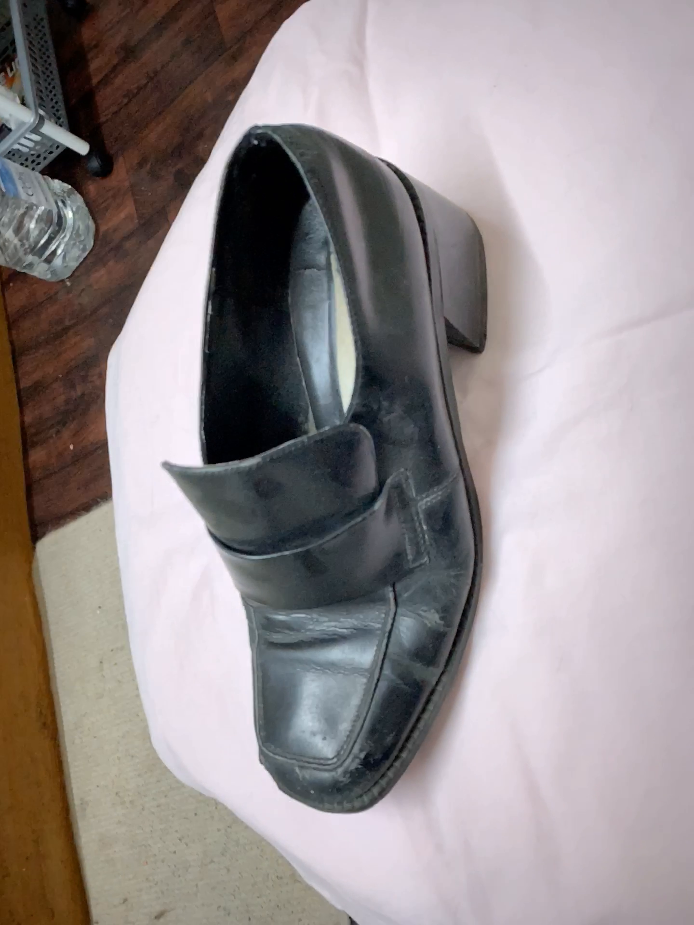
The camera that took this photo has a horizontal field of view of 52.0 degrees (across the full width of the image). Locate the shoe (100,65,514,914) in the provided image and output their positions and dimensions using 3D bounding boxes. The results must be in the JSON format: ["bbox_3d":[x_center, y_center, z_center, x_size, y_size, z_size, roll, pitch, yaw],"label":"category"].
[{"bbox_3d":[-0.009,0.005,0.263,0.090,0.092,0.240,4,86,33],"label":"shoe"}]
